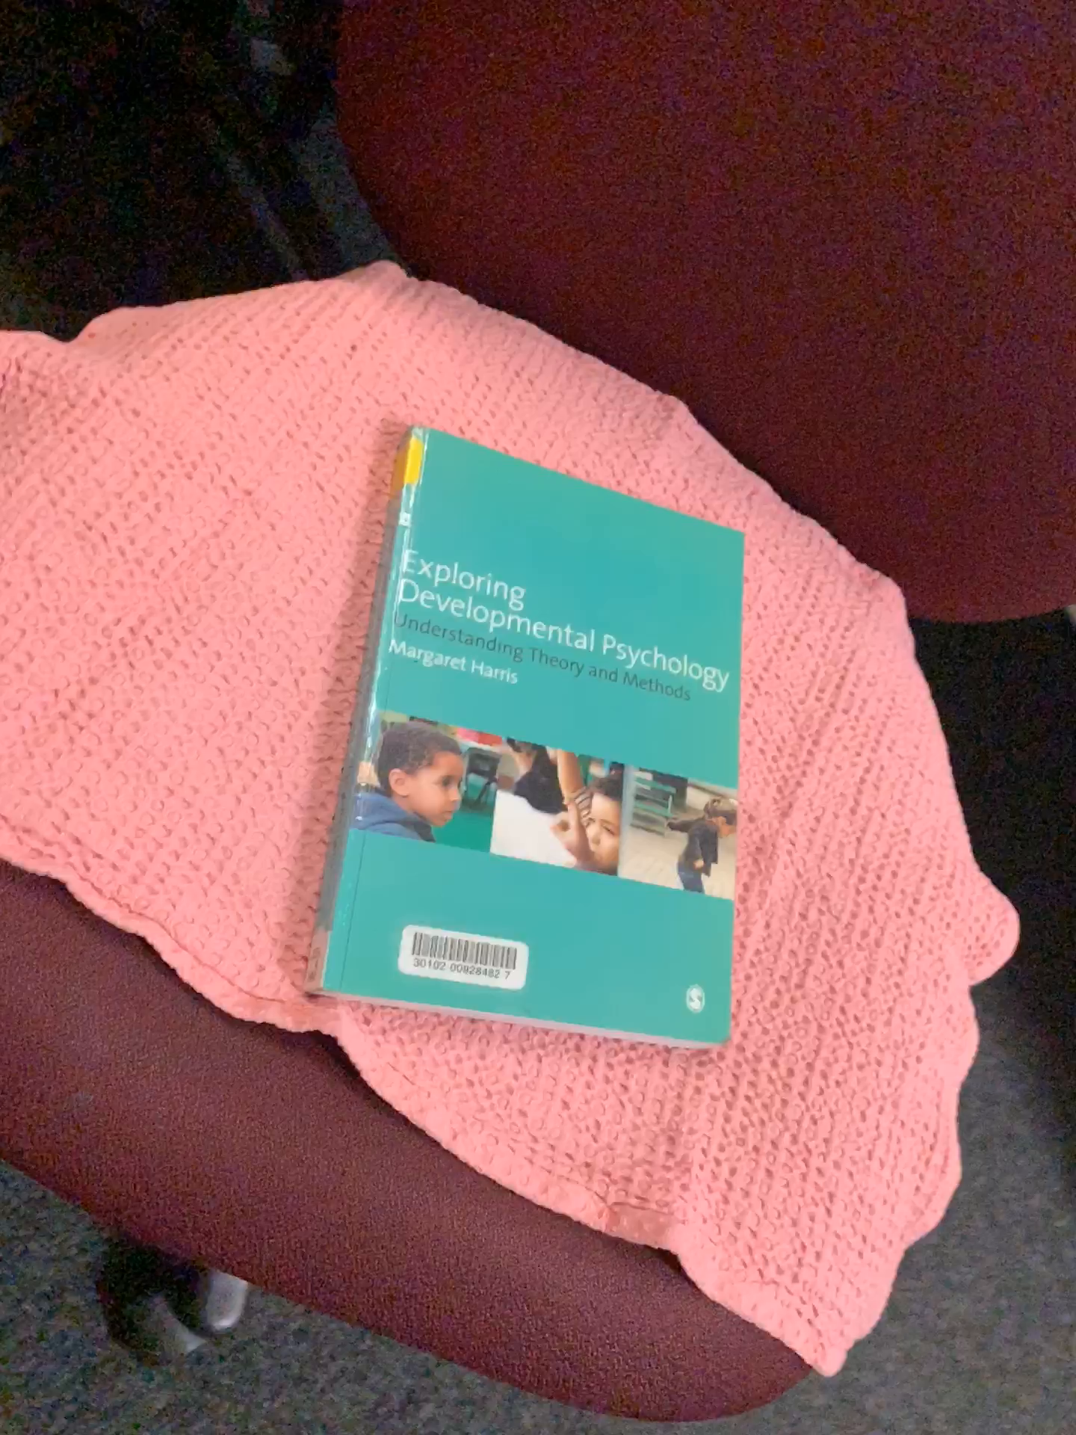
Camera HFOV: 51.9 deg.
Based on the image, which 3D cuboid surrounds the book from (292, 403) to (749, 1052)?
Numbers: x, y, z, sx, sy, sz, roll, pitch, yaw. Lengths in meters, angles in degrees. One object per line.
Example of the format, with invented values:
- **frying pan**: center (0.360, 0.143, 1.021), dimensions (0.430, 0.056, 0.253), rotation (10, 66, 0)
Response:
- **book**: center (0.006, 0.004, 0.467), dimensions (0.176, 0.030, 0.246), rotation (13, 67, -21)
